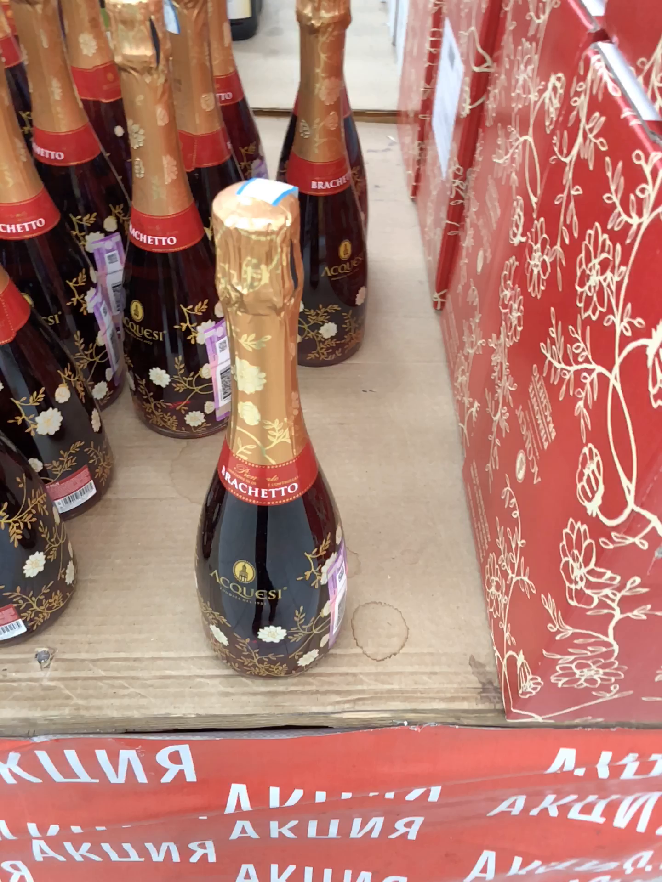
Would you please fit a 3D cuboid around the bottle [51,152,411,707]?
[{"bbox_3d":[-0.036,0.018,0.372,0.100,0.279,0.100,1,48,-1],"label":"bottle"}]
